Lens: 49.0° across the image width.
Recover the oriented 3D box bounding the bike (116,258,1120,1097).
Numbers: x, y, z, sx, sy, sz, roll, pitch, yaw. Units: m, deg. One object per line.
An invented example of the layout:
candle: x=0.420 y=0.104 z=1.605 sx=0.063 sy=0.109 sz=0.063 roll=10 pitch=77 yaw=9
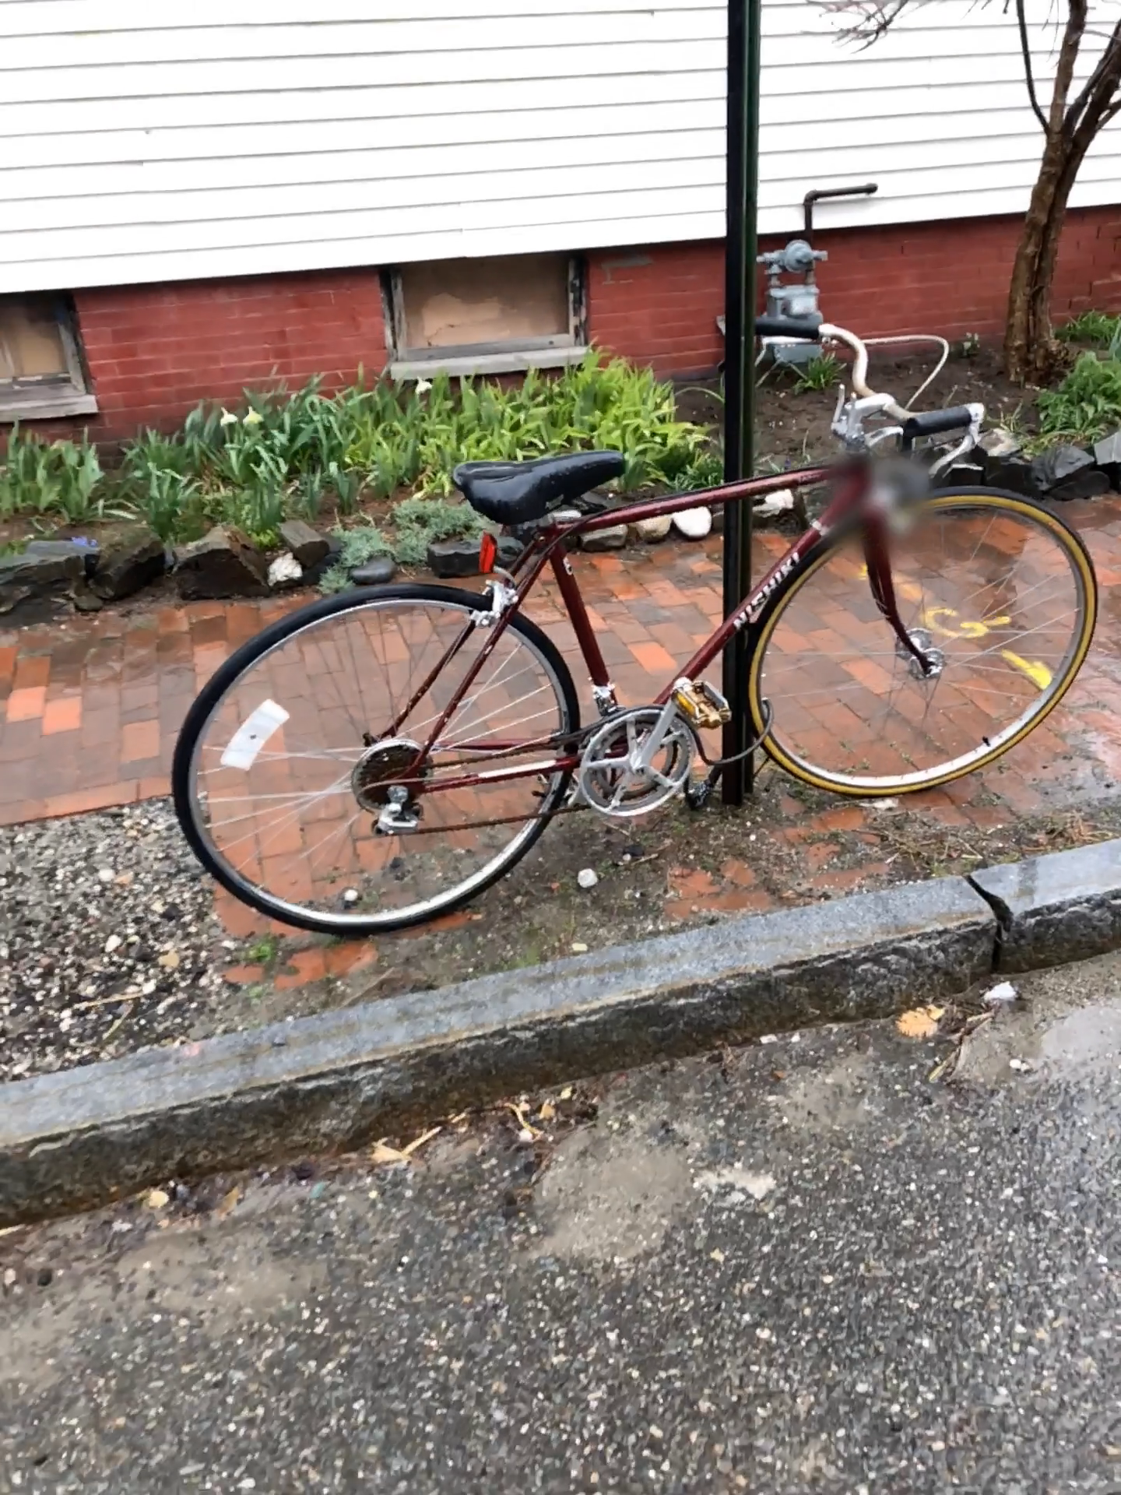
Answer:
bike: x=0.217 y=-0.174 z=1.968 sx=1.606 sy=0.907 sz=0.501 roll=-12 pitch=29 yaw=-13
